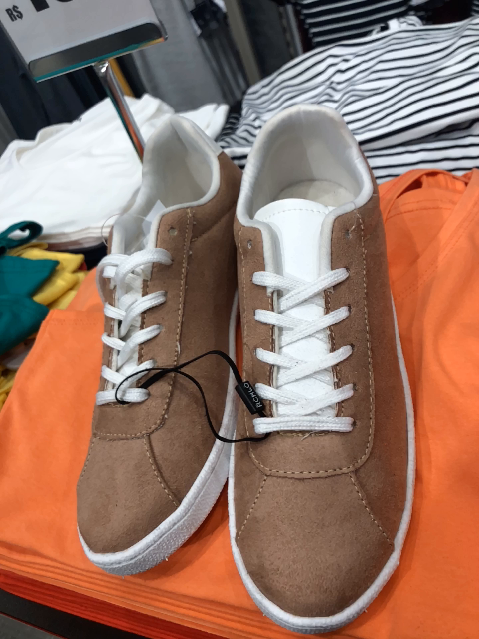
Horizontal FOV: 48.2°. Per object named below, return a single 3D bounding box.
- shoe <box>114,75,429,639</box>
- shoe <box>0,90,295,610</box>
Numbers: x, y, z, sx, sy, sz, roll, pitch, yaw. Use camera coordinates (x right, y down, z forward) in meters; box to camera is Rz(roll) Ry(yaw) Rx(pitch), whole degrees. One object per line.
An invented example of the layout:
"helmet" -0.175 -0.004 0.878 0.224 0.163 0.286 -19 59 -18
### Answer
"shoe" 0.032 0.009 0.266 0.090 0.099 0.251 -7 55 22
"shoe" -0.042 0.006 0.294 0.090 0.099 0.251 -4 56 24
